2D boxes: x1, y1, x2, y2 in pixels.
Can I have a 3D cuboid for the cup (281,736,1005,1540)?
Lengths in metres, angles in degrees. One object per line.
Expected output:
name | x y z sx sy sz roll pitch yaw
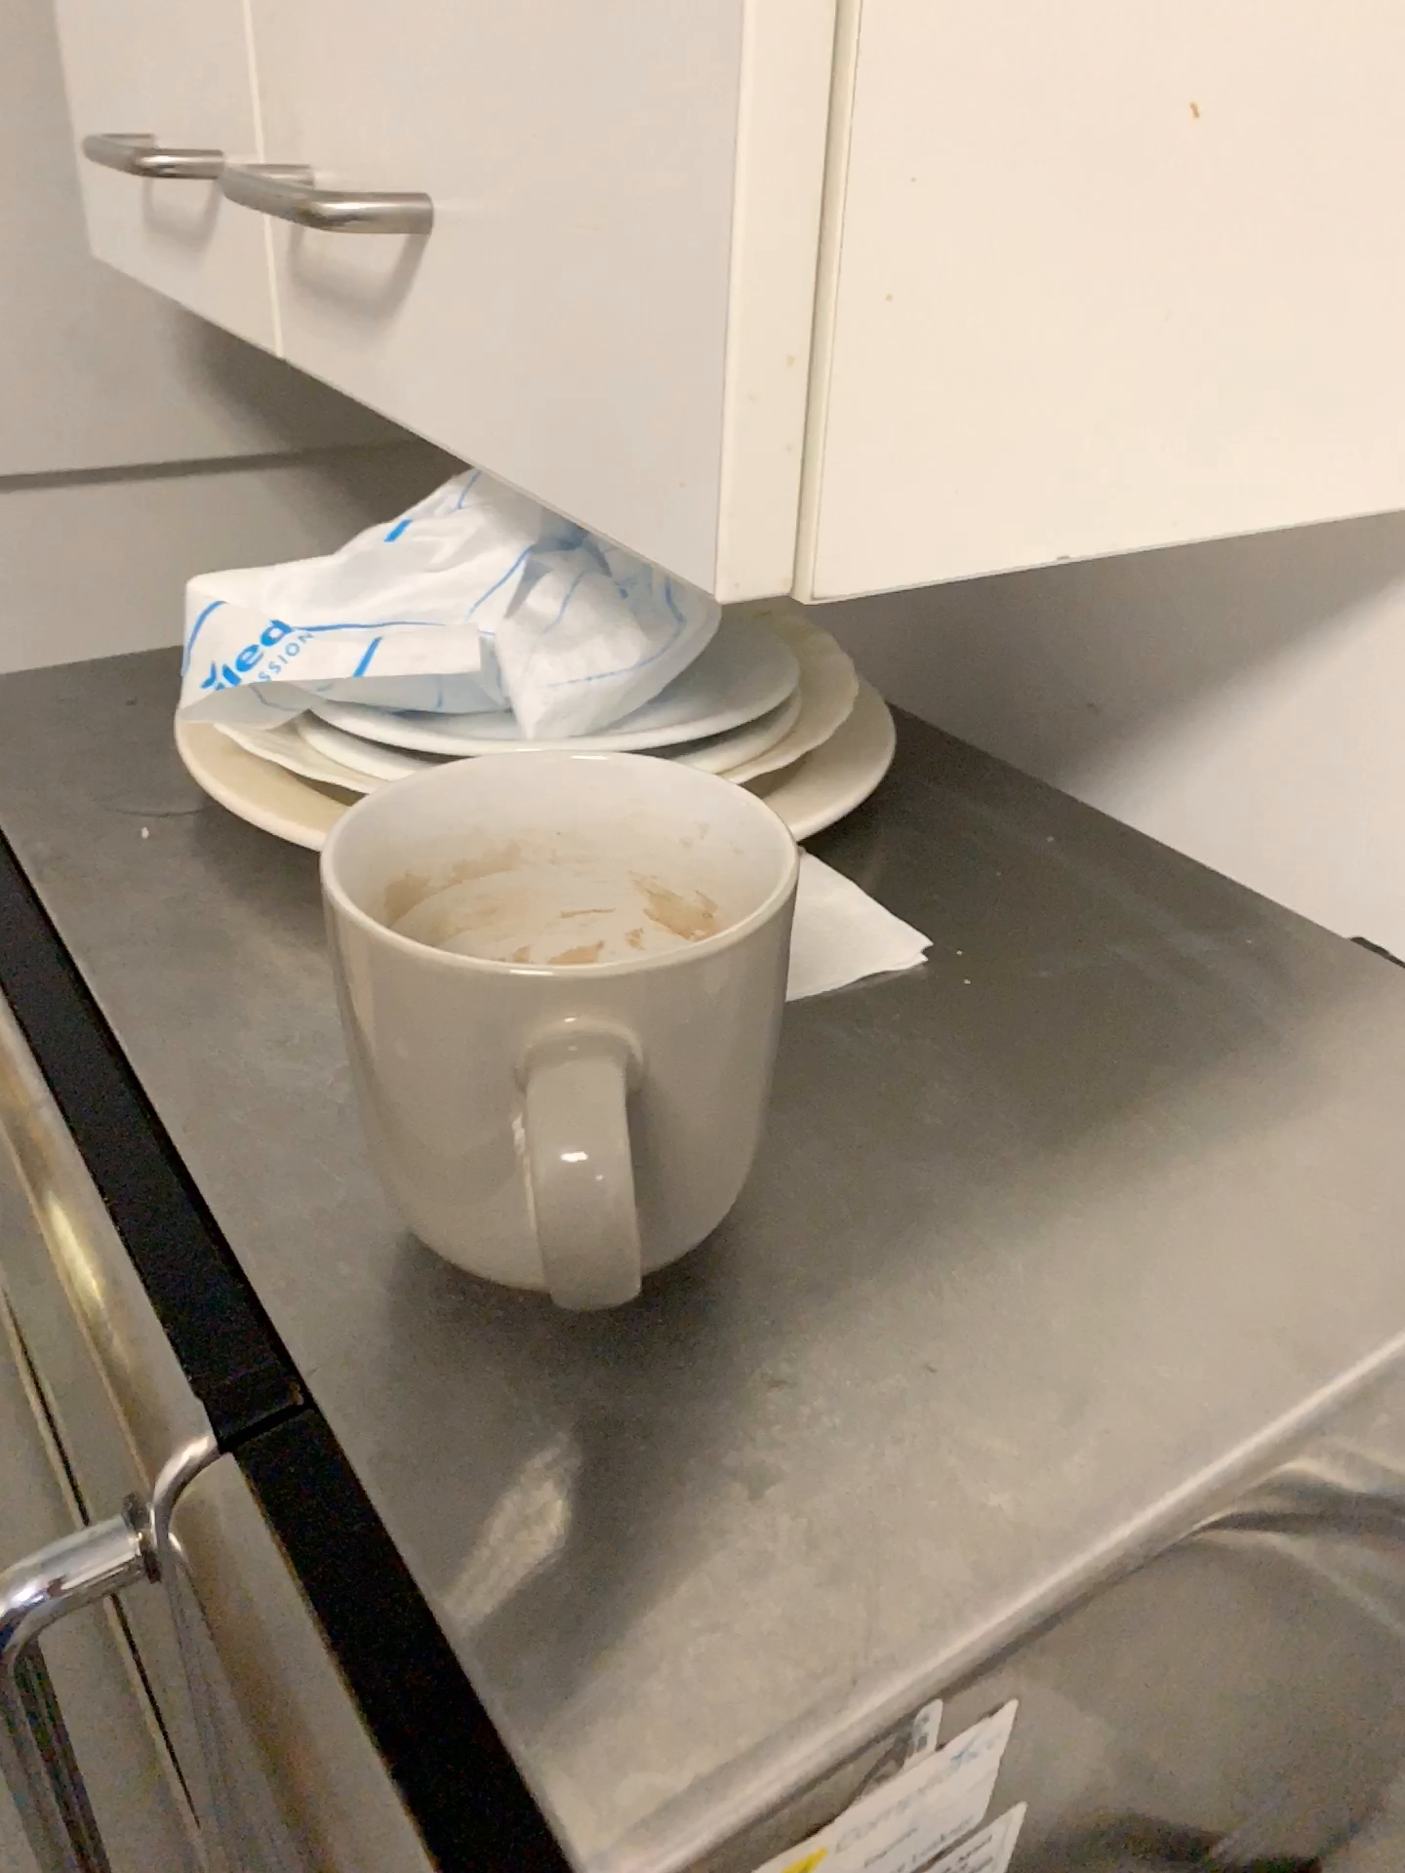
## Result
cup | -0.022 0.026 0.276 0.101 0.079 0.125 -6 31 -15
